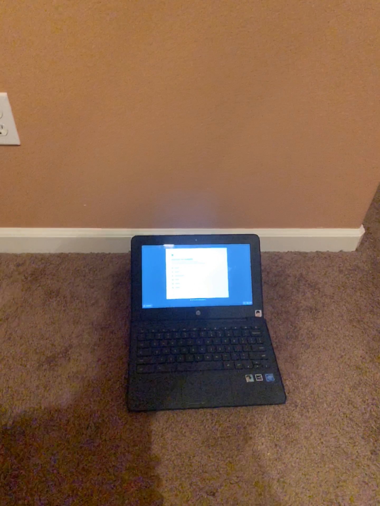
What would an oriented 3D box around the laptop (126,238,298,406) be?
[{"bbox_3d":[0.026,0.124,0.813,0.287,0.124,0.334,-1,41,-4],"label":"laptop"}]
